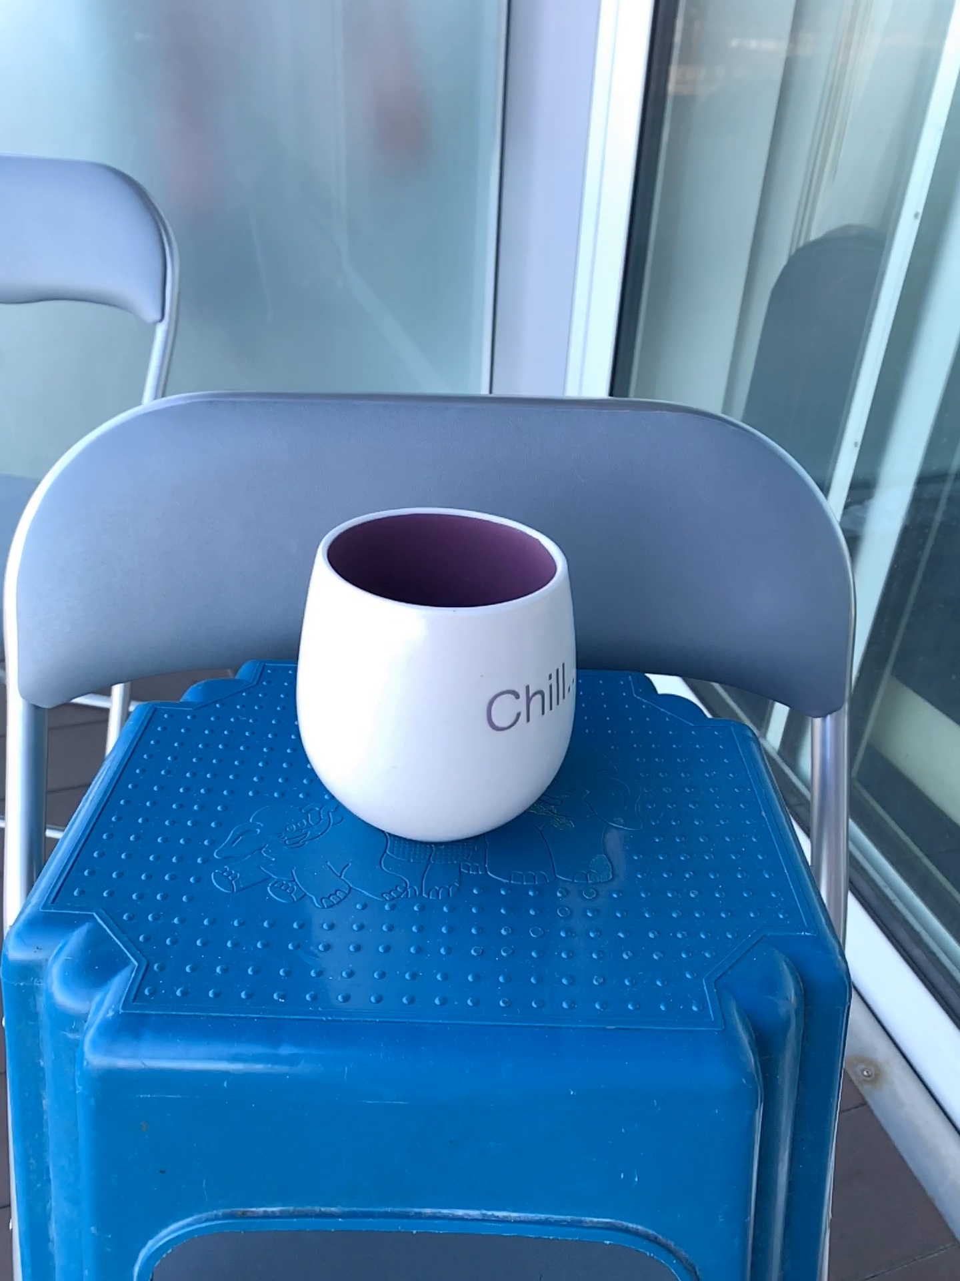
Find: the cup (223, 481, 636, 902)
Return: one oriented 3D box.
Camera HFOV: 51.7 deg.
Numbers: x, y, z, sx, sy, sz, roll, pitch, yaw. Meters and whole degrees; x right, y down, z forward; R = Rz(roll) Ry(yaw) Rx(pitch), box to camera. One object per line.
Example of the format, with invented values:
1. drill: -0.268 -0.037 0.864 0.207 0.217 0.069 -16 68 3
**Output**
1. cup: -0.017 0.011 0.375 0.105 0.090 0.111 4 30 -2
